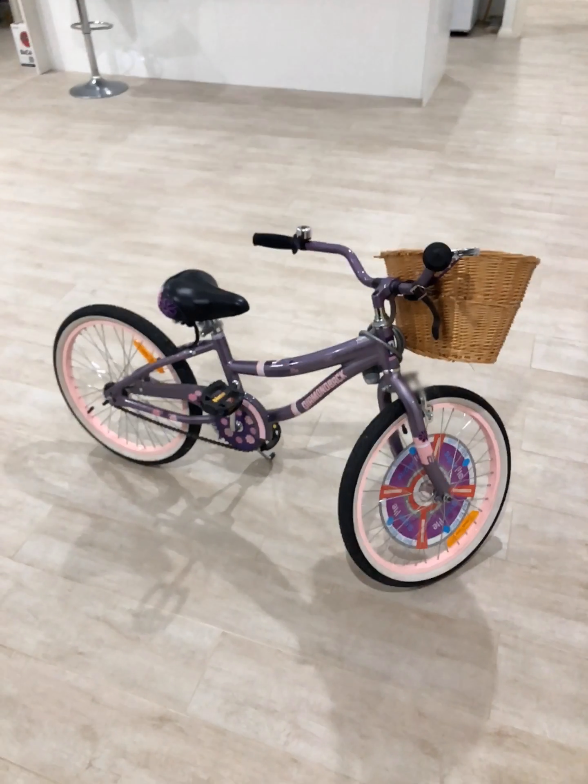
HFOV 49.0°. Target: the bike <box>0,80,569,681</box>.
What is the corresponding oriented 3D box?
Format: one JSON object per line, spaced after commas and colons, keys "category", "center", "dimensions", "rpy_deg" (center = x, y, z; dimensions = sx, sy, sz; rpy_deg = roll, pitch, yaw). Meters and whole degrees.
{"category": "bike", "center": [-0.073, -0.065, 1.555], "dimensions": [1.215, 0.877, 0.751], "rpy_deg": [14, 43, 11]}
